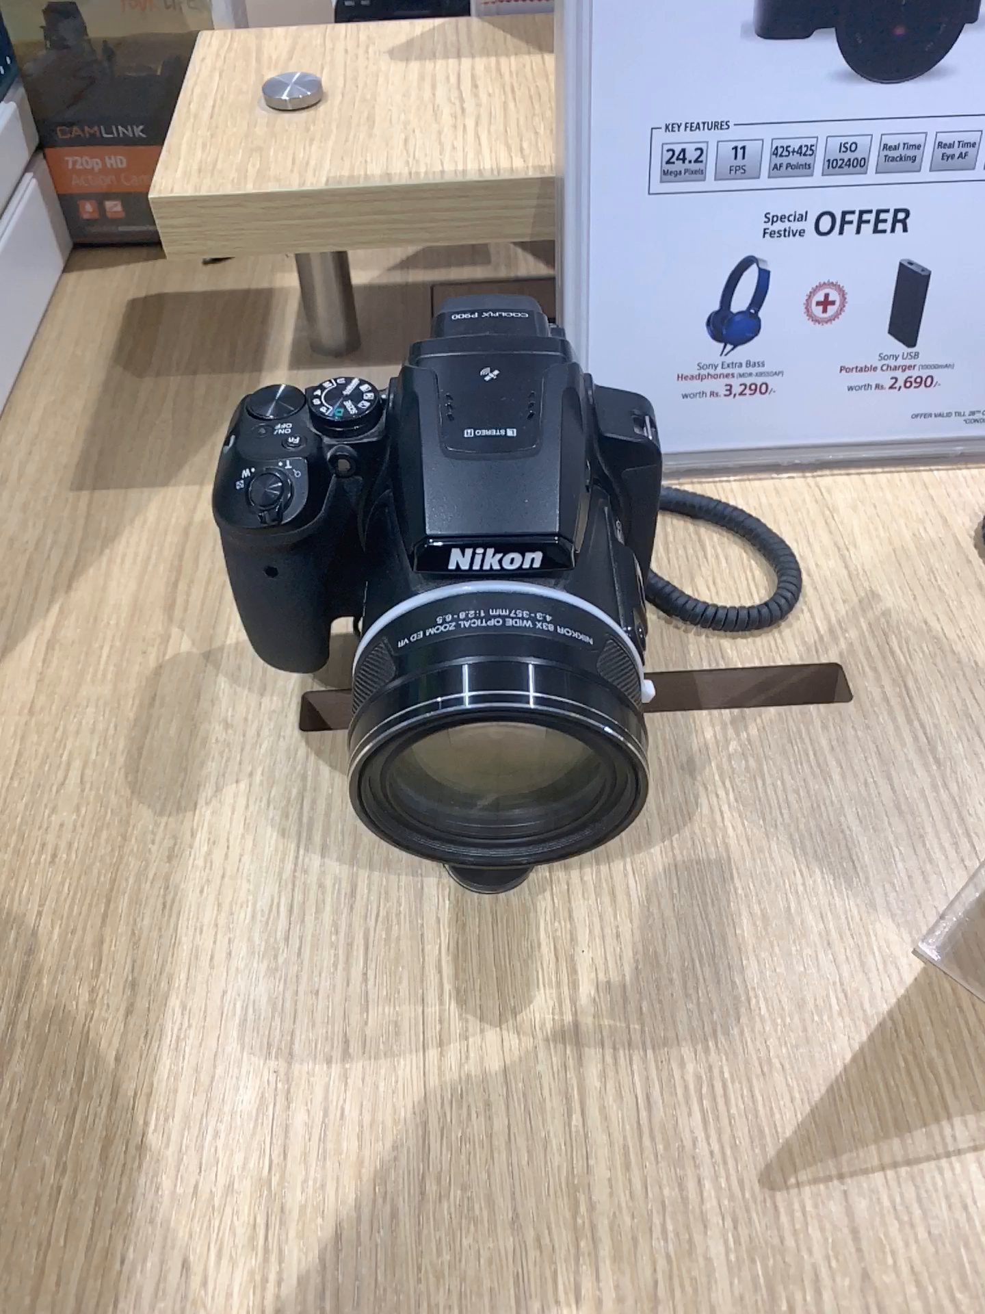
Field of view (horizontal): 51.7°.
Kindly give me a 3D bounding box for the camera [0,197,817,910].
[{"bbox_3d":[-0.018,-0.031,0.252,0.140,0.090,0.150,-3,50,-1],"label":"camera"}]
